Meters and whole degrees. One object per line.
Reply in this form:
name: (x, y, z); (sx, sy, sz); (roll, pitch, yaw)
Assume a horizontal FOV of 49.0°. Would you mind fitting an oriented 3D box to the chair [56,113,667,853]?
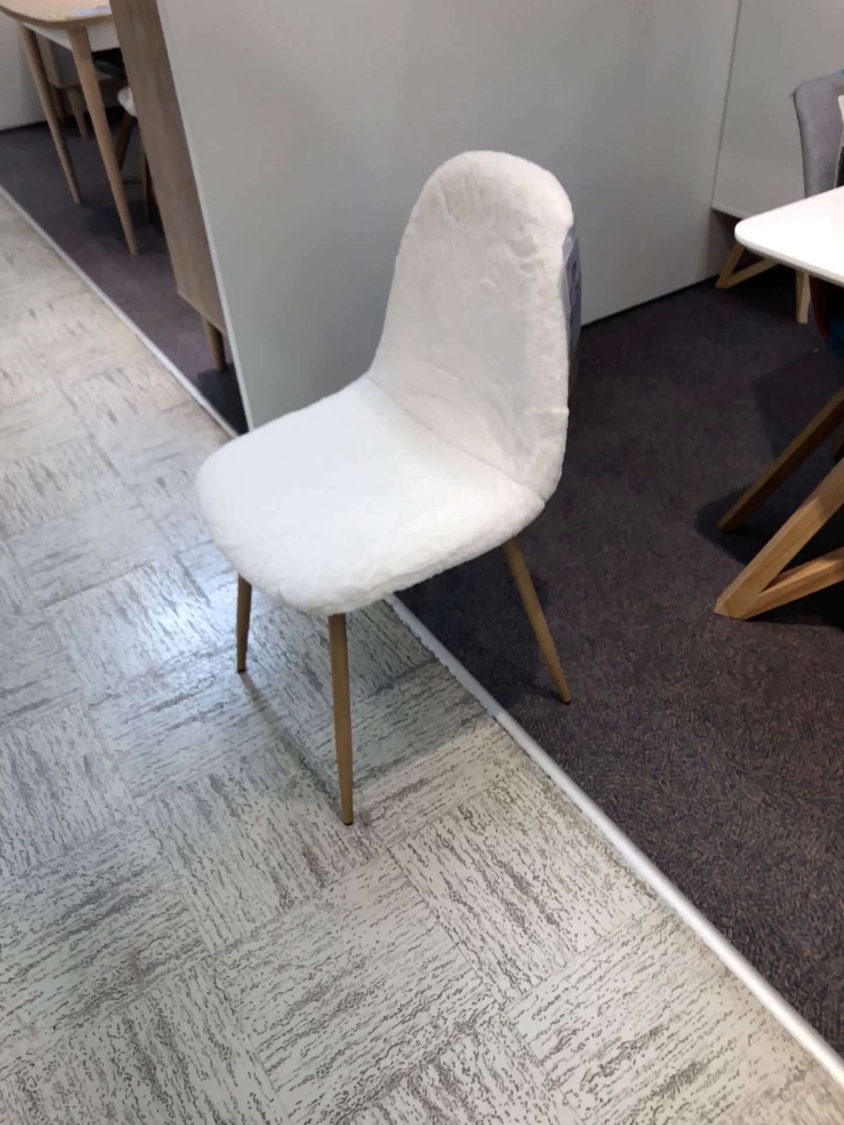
chair: (-0.067, -0.128, 1.388); (0.552, 0.815, 0.521); (-27, 45, -25)
